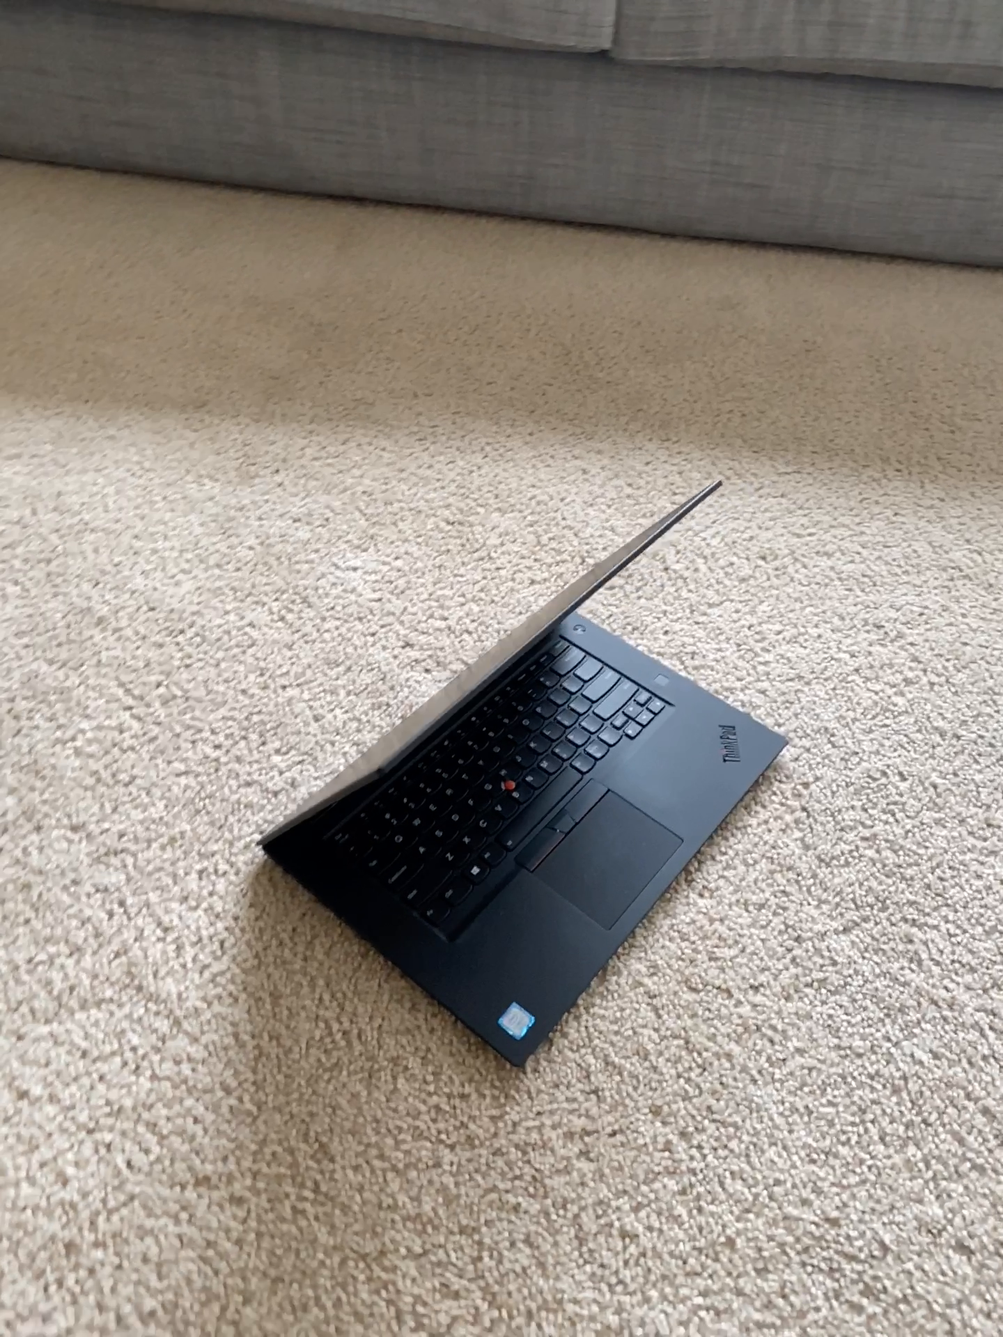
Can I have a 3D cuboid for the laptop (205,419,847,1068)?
[{"bbox_3d":[0.027,0.029,0.722,0.244,0.198,0.356,33,53,23],"label":"laptop"}]
